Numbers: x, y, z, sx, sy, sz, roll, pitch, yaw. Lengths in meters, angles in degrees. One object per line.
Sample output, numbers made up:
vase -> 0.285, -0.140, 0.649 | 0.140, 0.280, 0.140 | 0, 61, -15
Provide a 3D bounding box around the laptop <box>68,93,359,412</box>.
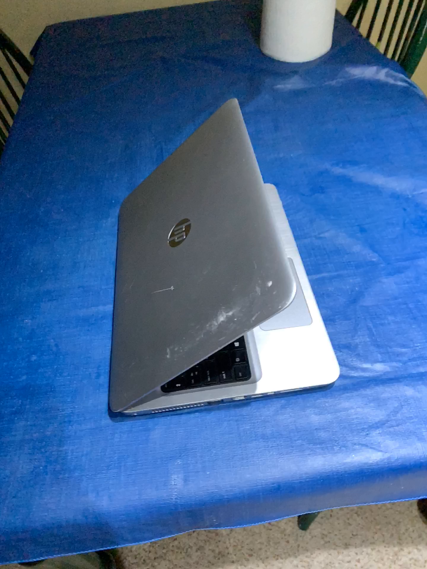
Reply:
laptop -> -0.012, -0.064, 0.556 | 0.253, 0.156, 0.368 | -8, 49, -1
